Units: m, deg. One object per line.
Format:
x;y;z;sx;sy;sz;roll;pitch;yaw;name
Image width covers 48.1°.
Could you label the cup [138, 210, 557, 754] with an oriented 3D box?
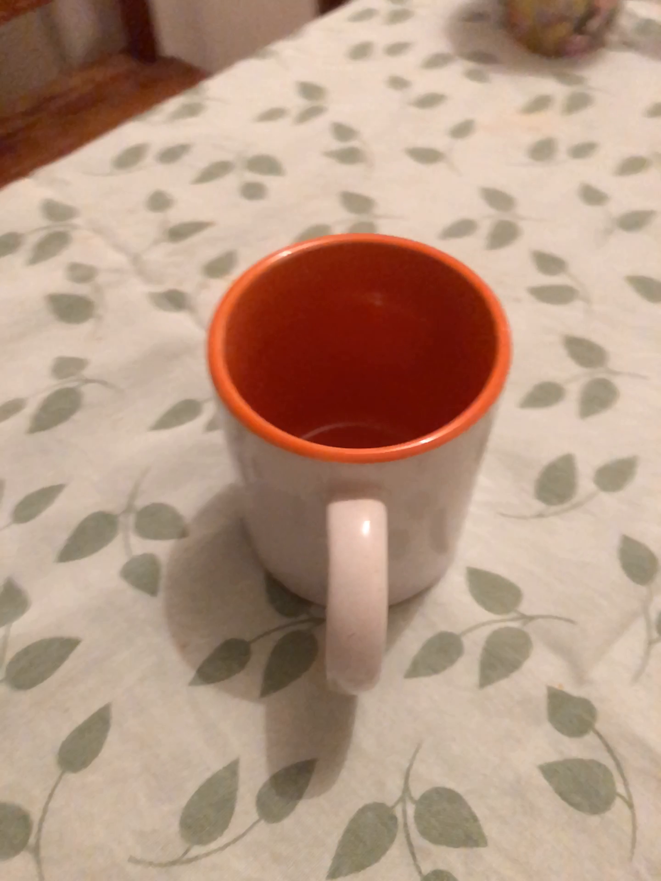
0.007;0.014;0.216;0.080;0.099;0.121;3;56;2;cup
